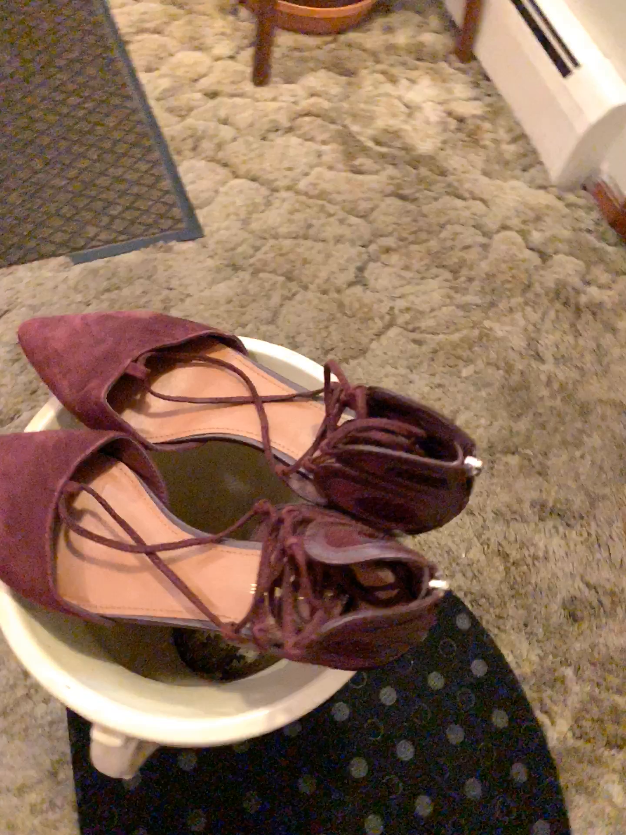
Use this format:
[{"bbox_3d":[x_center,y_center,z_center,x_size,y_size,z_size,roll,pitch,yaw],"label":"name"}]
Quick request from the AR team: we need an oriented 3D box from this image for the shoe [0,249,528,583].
[{"bbox_3d":[-0.041,-0.011,0.346,0.280,0.070,0.091,15,61,19],"label":"shoe"}]

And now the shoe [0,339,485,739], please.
[{"bbox_3d":[-0.077,0.049,0.286,0.280,0.070,0.091,13,61,11],"label":"shoe"}]
